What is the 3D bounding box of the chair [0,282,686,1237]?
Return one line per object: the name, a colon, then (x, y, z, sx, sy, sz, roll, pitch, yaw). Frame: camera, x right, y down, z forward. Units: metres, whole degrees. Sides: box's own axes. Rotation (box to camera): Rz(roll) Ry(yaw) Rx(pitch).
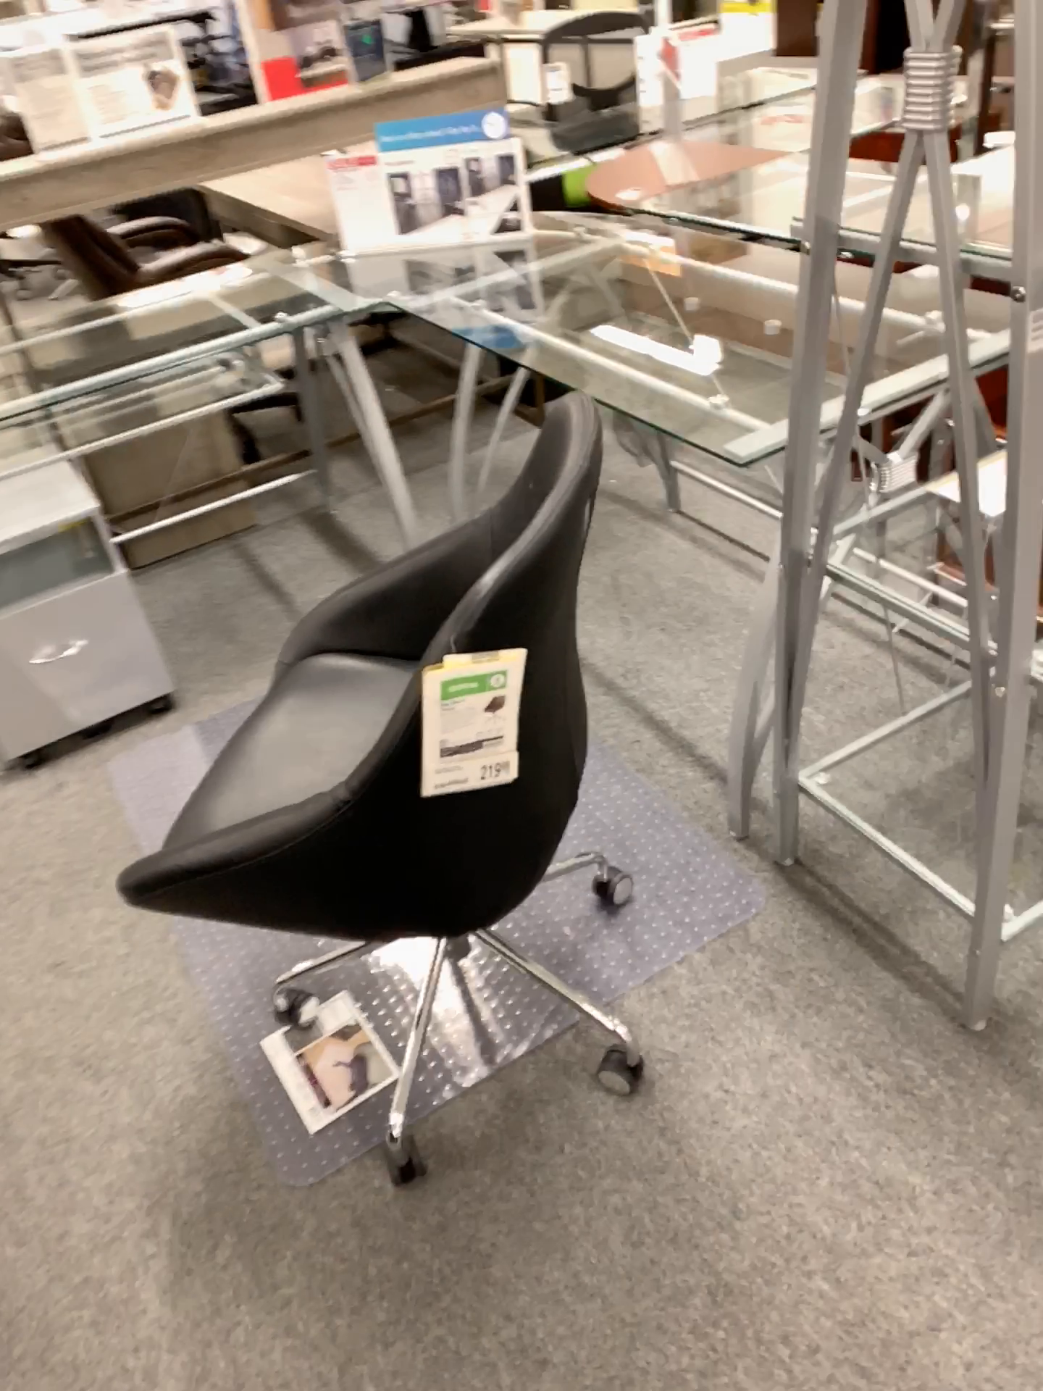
chair: (-0.173, 0.064, 1.323, 0.621, 0.885, 0.672, 2, 38, 17)
